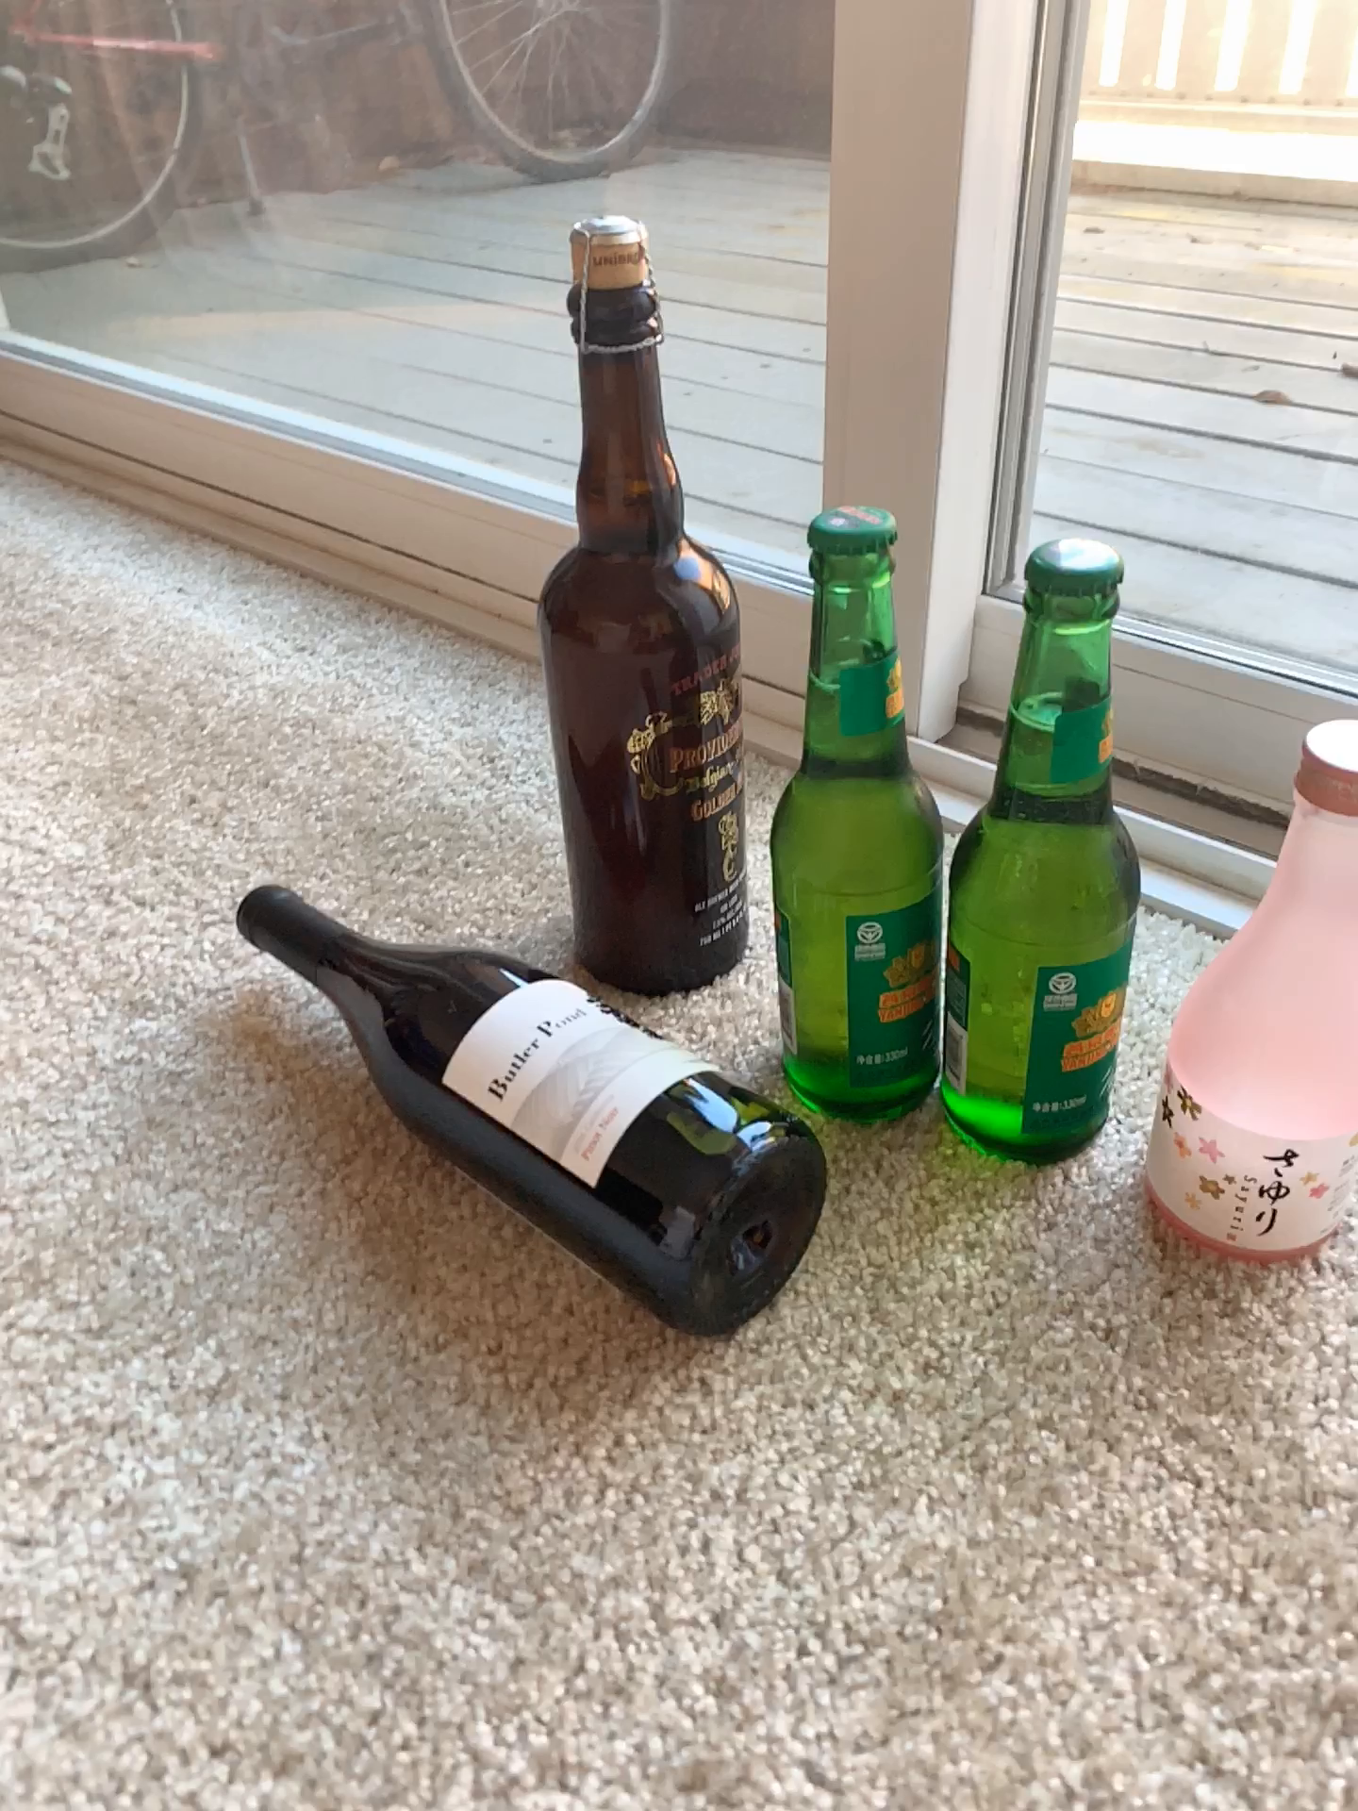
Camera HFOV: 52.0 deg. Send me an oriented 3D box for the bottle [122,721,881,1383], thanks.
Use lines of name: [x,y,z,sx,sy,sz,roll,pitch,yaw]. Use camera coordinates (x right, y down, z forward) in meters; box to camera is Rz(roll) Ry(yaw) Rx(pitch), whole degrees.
bottle: [-0.073,0.037,0.485,0.281,0.080,0.070,30,45,27]

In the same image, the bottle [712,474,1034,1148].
bottle: [0.062,-0.027,0.475,0.070,0.209,0.070,-1,35,1]

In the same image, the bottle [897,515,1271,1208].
bottle: [0.131,-0.010,0.478,0.070,0.219,0.070,-1,35,1]

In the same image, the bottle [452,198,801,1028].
bottle: [-0.012,-0.101,0.530,0.080,0.288,0.080,-1,35,1]

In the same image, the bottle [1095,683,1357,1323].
bottle: [0.192,0.033,0.440,0.070,0.179,0.070,-1,35,1]
